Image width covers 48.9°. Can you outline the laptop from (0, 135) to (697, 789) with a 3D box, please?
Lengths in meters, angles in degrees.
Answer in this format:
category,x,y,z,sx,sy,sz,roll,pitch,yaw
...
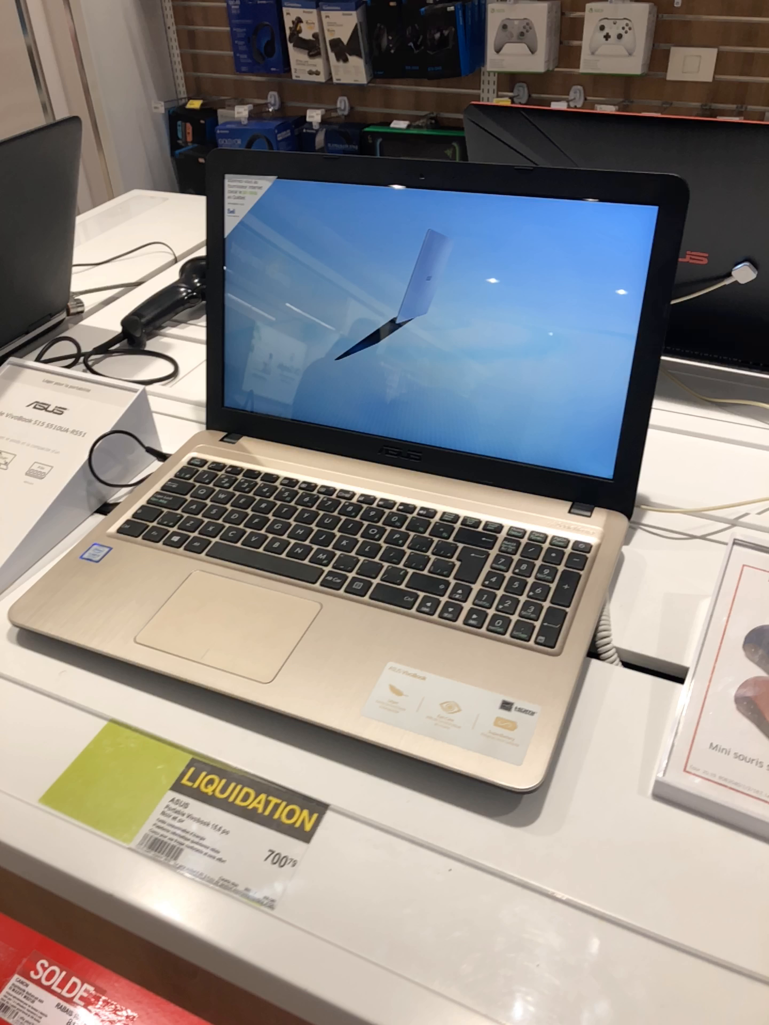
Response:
category,x,y,z,sx,sy,sz,roll,pitch,yaw
laptop,-0.022,-0.080,0.577,0.370,0.204,0.339,13,44,20
